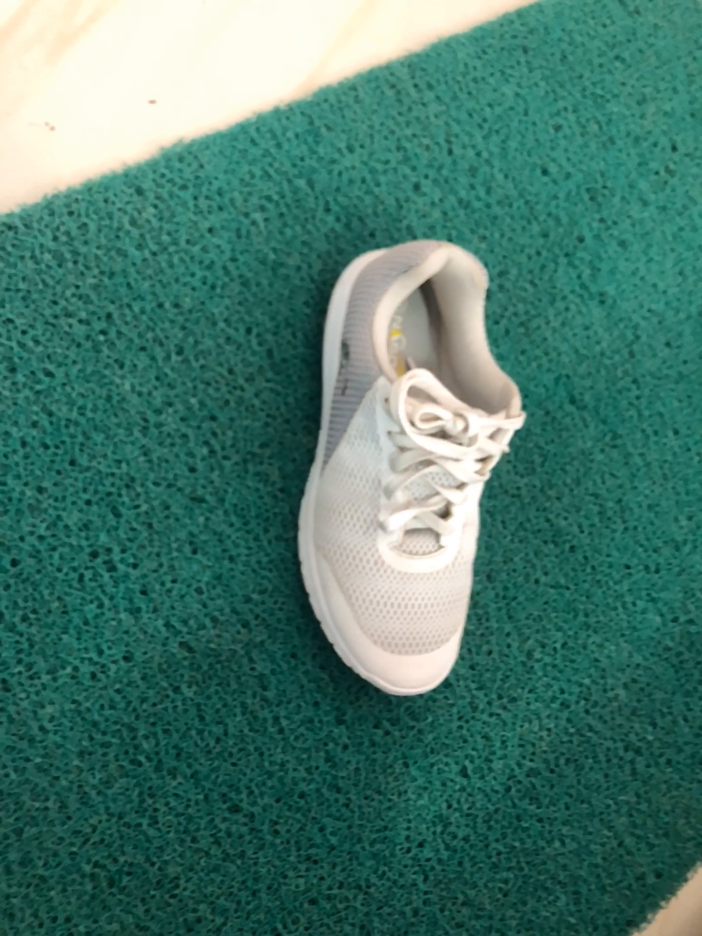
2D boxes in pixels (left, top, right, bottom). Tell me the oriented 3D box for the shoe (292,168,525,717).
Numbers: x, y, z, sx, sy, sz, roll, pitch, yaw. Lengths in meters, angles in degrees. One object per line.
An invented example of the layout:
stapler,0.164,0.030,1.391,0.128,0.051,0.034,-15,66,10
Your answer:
shoe,0.033,-0.011,0.473,0.100,0.100,0.290,5,82,-20
